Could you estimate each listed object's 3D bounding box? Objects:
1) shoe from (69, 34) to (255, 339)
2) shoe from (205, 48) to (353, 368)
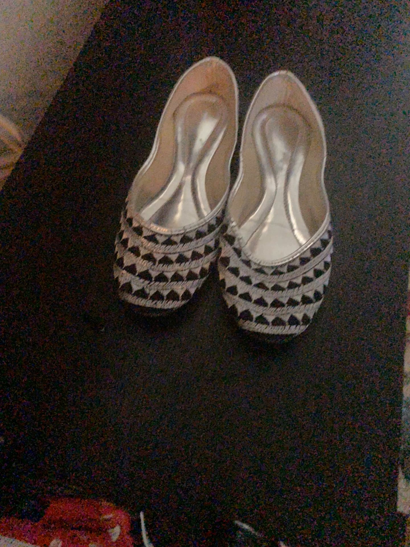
[{"bbox_3d":[-0.022,-0.089,0.378,0.095,0.070,0.272,9,64,5],"label":"shoe"},{"bbox_3d":[0.067,-0.068,0.364,0.095,0.070,0.272,7,64,4],"label":"shoe"}]
